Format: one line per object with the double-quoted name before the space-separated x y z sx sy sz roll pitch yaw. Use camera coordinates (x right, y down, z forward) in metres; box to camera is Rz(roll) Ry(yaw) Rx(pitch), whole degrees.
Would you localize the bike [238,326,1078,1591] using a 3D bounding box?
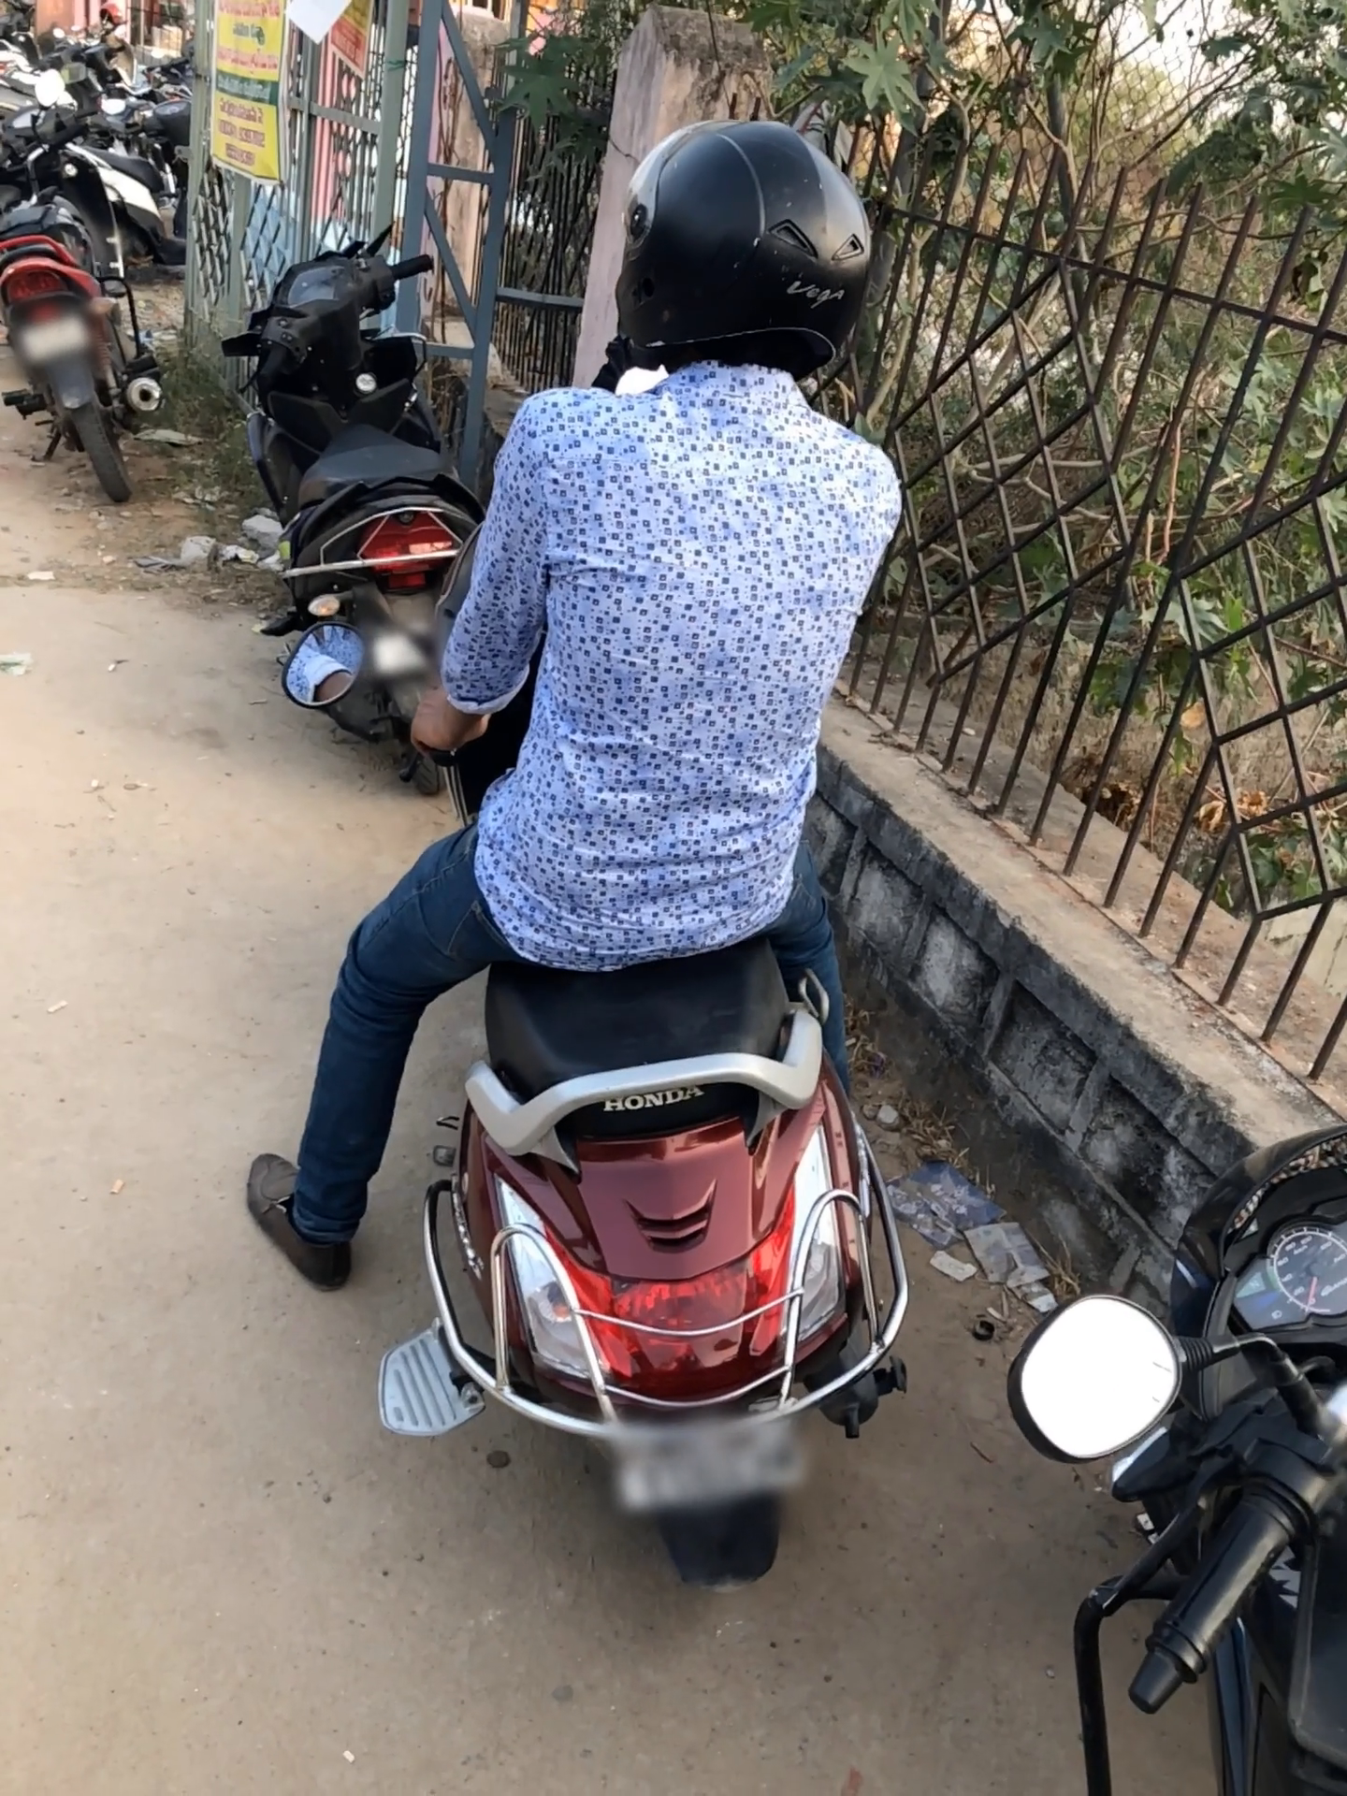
"bike" -0.235 -0.059 2.014 0.577 0.963 1.495 1 31 -19
